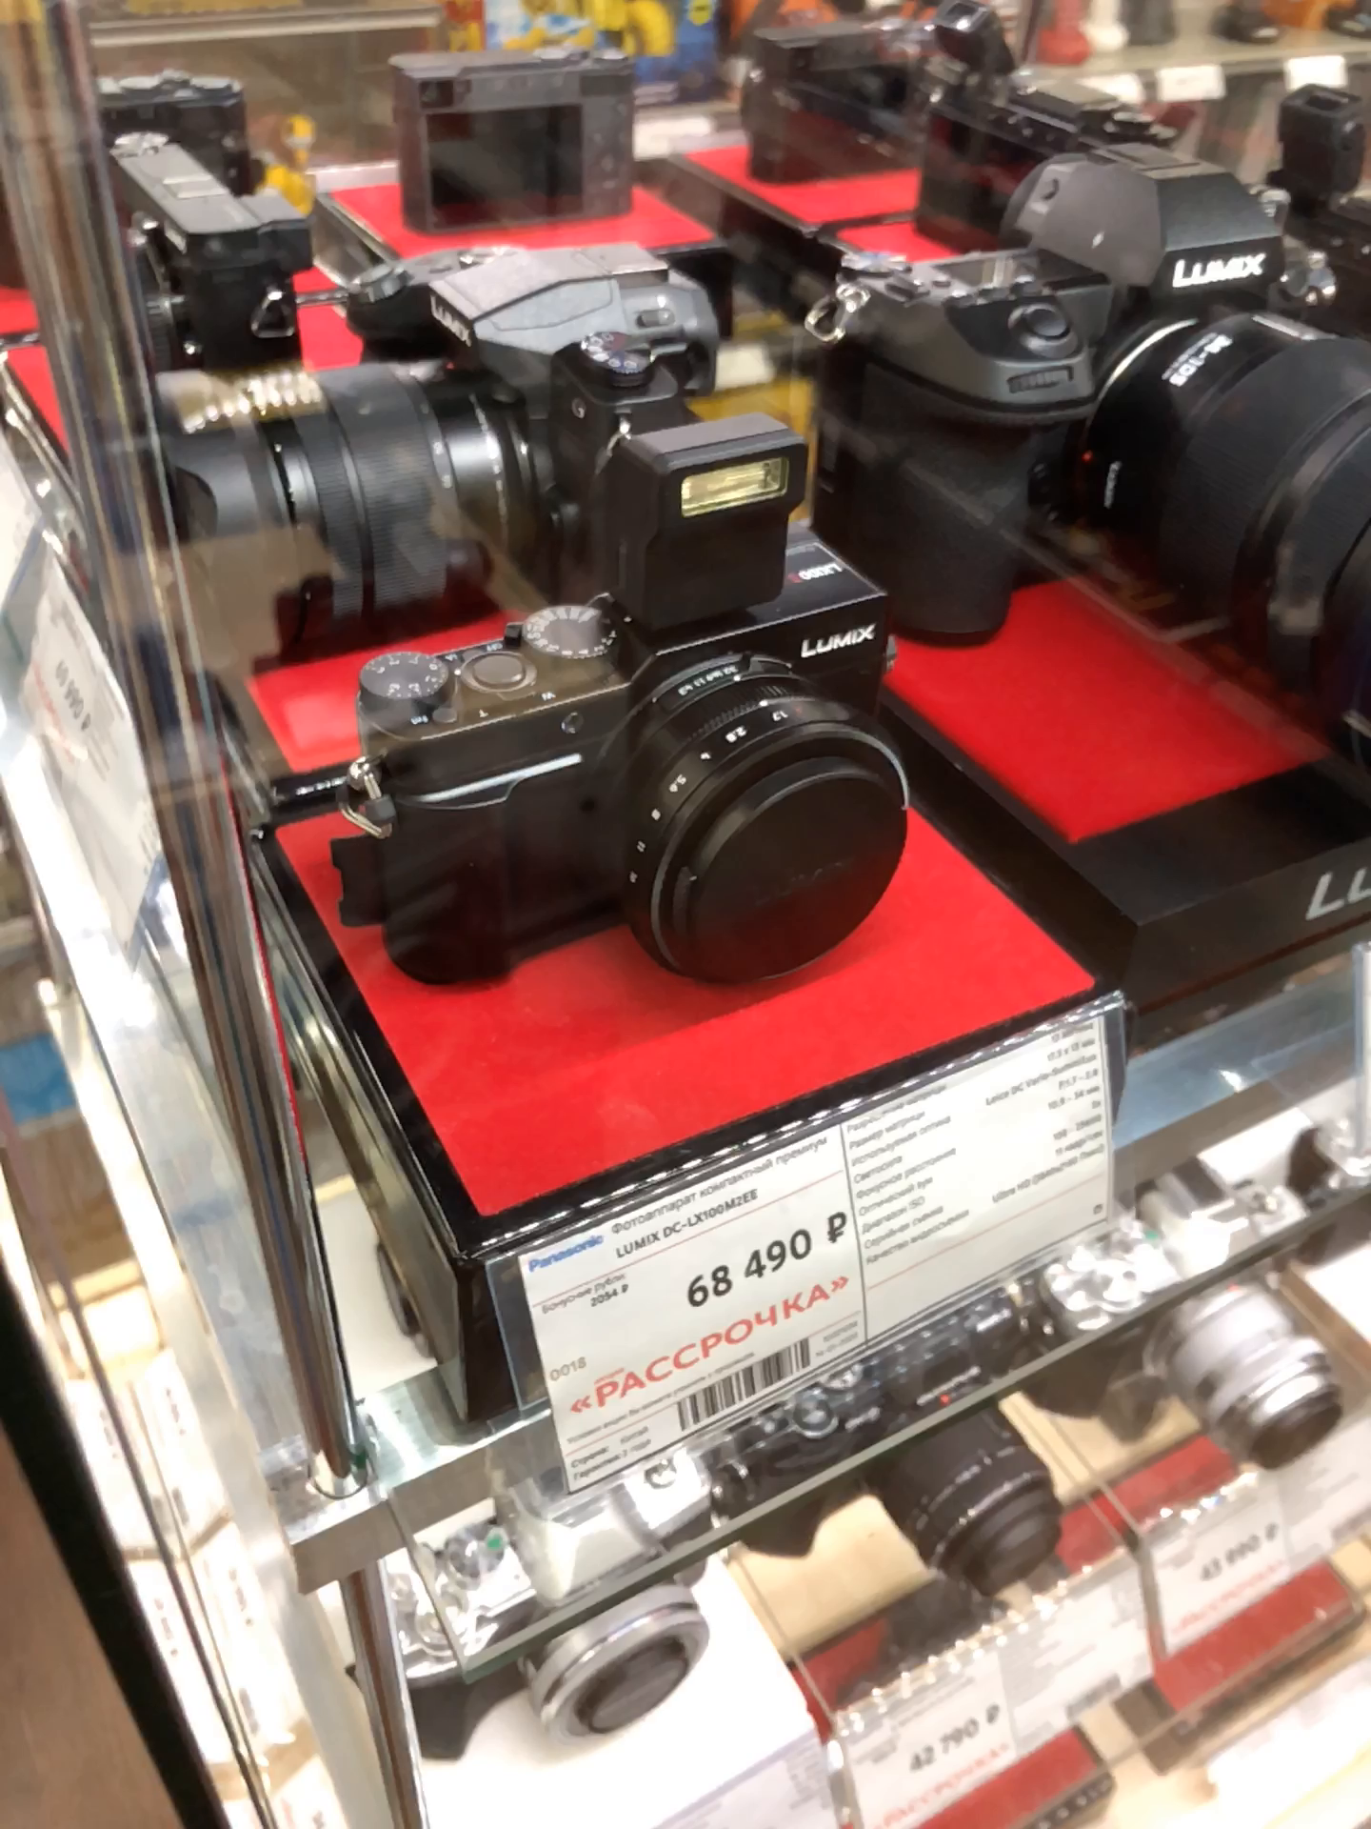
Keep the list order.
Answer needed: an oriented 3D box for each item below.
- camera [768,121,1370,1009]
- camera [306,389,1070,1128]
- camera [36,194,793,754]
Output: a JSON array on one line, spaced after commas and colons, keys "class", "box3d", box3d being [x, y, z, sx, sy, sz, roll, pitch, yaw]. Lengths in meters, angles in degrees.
[{"class": "camera", "box3d": [0.160, -0.114, 0.403, 0.175, 0.114, 0.227, -18, 44, -24]}, {"class": "camera", "box3d": [-0.001, -0.035, 0.302, 0.117, 0.098, 0.069, -19, 44, -24]}, {"class": "camera", "box3d": [-0.066, -0.116, 0.380, 0.149, 0.081, 0.099, -16, 43, -22]}]
